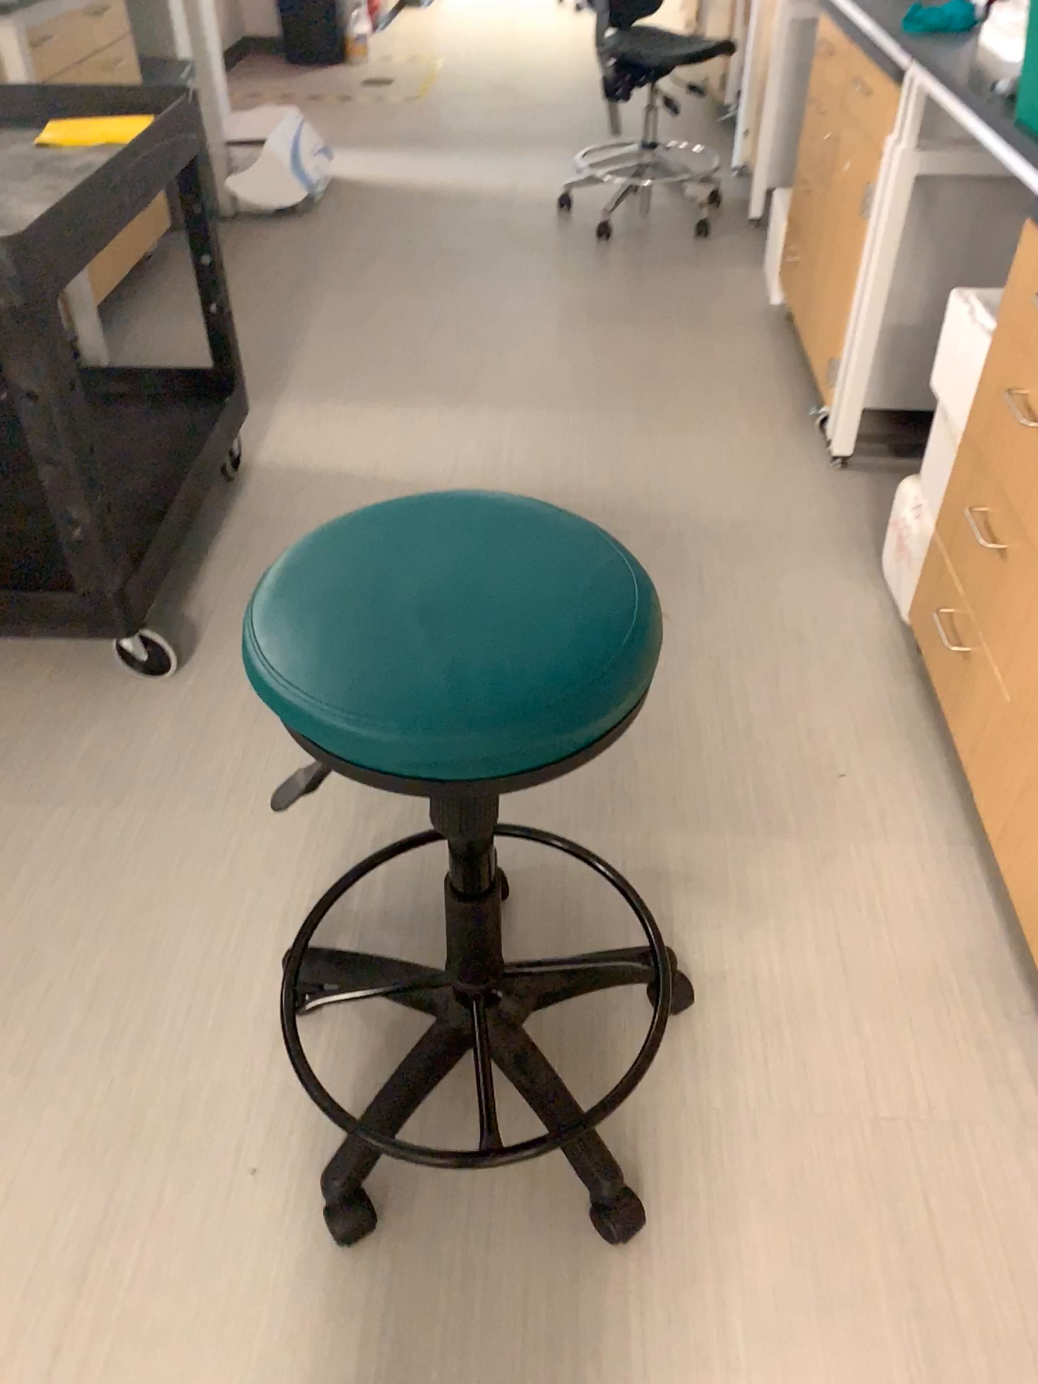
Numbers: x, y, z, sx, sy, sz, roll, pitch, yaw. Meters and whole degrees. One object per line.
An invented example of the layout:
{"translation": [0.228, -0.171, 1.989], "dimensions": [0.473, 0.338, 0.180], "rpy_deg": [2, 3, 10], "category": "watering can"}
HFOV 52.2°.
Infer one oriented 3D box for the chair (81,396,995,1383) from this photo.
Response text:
{"translation": [-0.033, 0.165, 1.122], "dimensions": [0.591, 0.654, 0.595], "rpy_deg": [-16, 43, -19], "category": "chair"}
